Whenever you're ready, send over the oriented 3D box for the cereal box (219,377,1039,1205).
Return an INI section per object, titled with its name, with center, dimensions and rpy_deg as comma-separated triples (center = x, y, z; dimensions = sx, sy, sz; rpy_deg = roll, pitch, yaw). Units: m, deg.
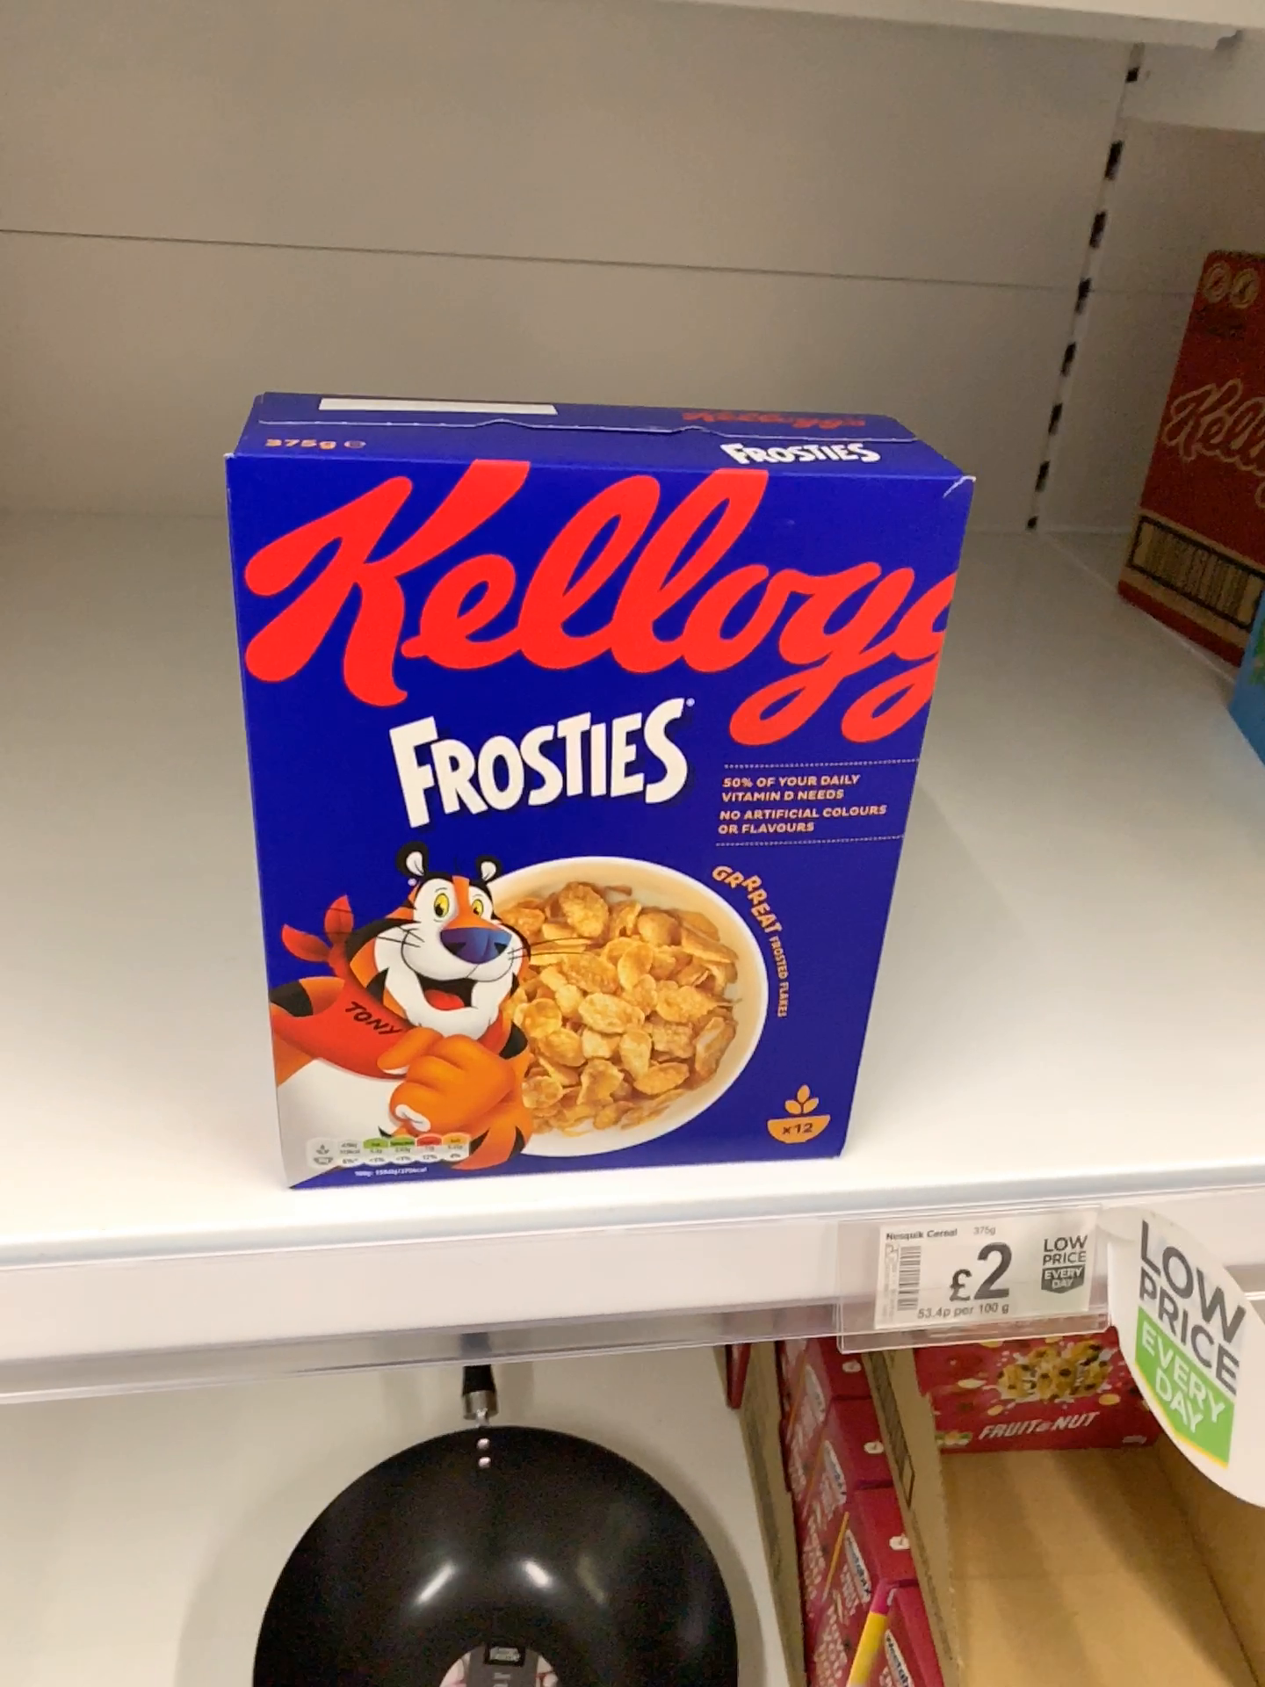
[cereal box]
center = -0.010, -0.009, 0.406
dimensions = 0.200, 0.238, 0.081
rpy_deg = -1, 30, -9
